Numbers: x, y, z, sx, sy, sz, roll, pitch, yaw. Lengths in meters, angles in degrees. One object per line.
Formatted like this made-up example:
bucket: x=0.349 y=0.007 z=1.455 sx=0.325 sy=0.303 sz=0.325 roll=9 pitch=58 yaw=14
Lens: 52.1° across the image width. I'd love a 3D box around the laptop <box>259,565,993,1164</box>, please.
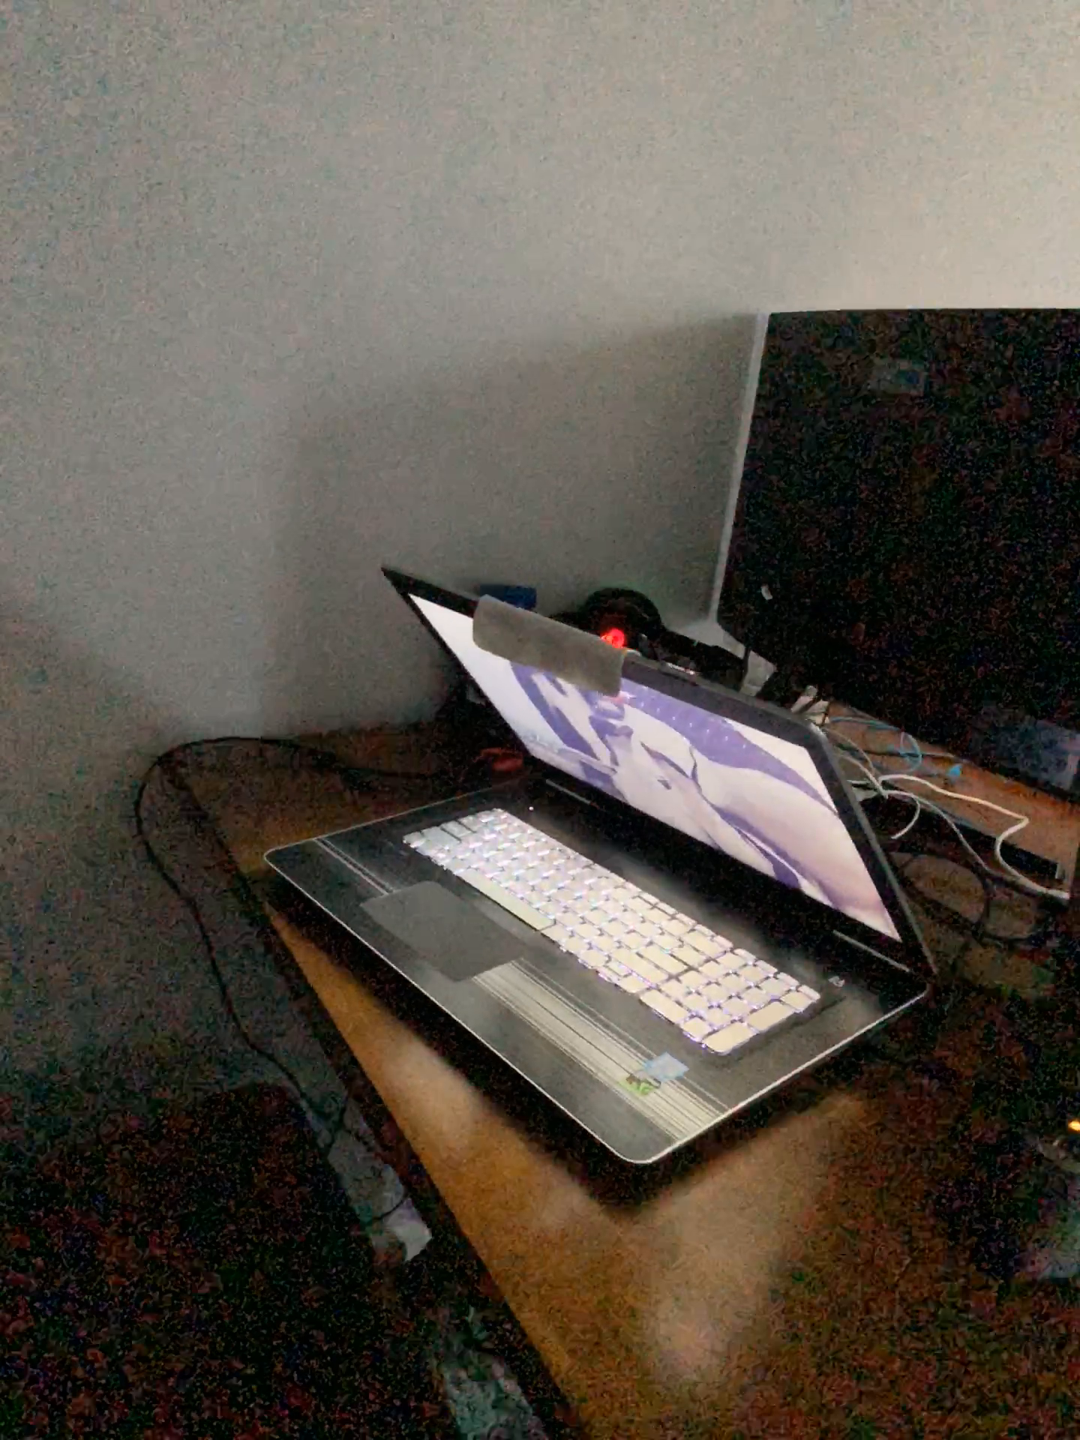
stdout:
laptop: x=0.027 y=0.043 z=0.723 sx=0.257 sy=0.187 sz=0.394 roll=-12 pitch=25 yaw=-38
